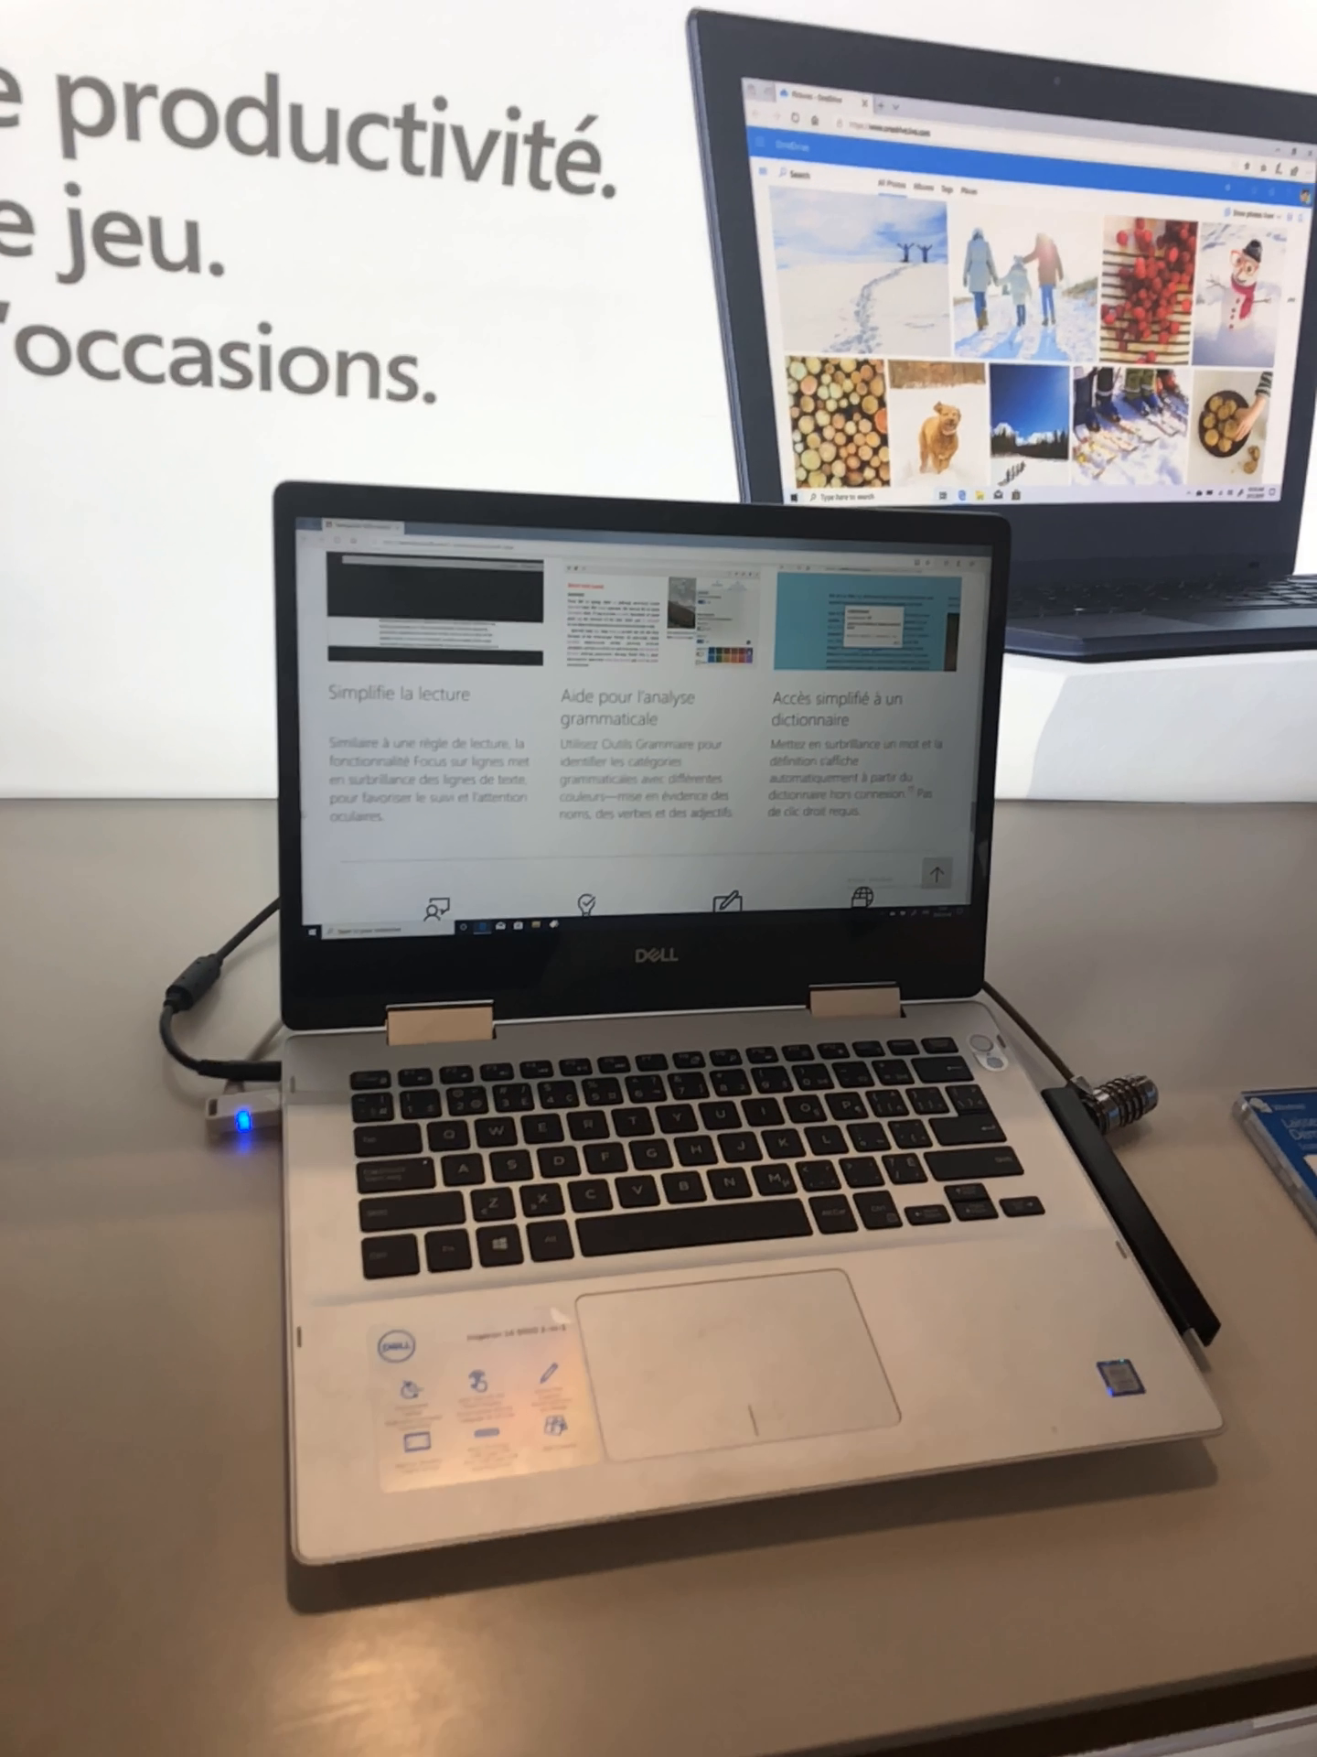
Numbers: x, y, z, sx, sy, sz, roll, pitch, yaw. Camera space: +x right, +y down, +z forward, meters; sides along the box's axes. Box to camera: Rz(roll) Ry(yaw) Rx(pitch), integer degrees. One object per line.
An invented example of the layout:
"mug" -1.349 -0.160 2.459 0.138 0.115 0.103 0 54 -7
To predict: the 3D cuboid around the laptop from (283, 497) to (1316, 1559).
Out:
"laptop" 0.024 0.021 0.548 0.316 0.193 0.338 -1 38 -15
